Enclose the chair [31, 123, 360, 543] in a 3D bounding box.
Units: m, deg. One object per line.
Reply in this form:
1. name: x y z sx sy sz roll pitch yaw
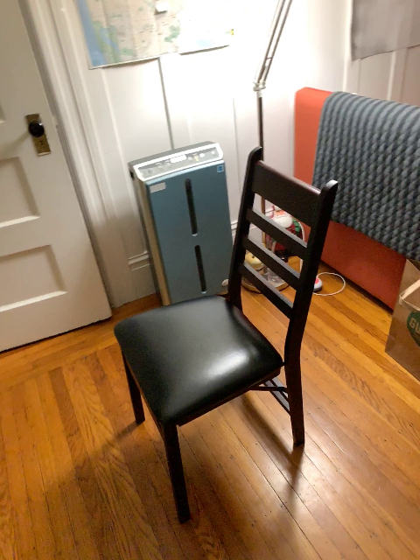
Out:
1. chair: -0.021 0.123 1.165 0.550 0.865 0.493 -22 36 -20
